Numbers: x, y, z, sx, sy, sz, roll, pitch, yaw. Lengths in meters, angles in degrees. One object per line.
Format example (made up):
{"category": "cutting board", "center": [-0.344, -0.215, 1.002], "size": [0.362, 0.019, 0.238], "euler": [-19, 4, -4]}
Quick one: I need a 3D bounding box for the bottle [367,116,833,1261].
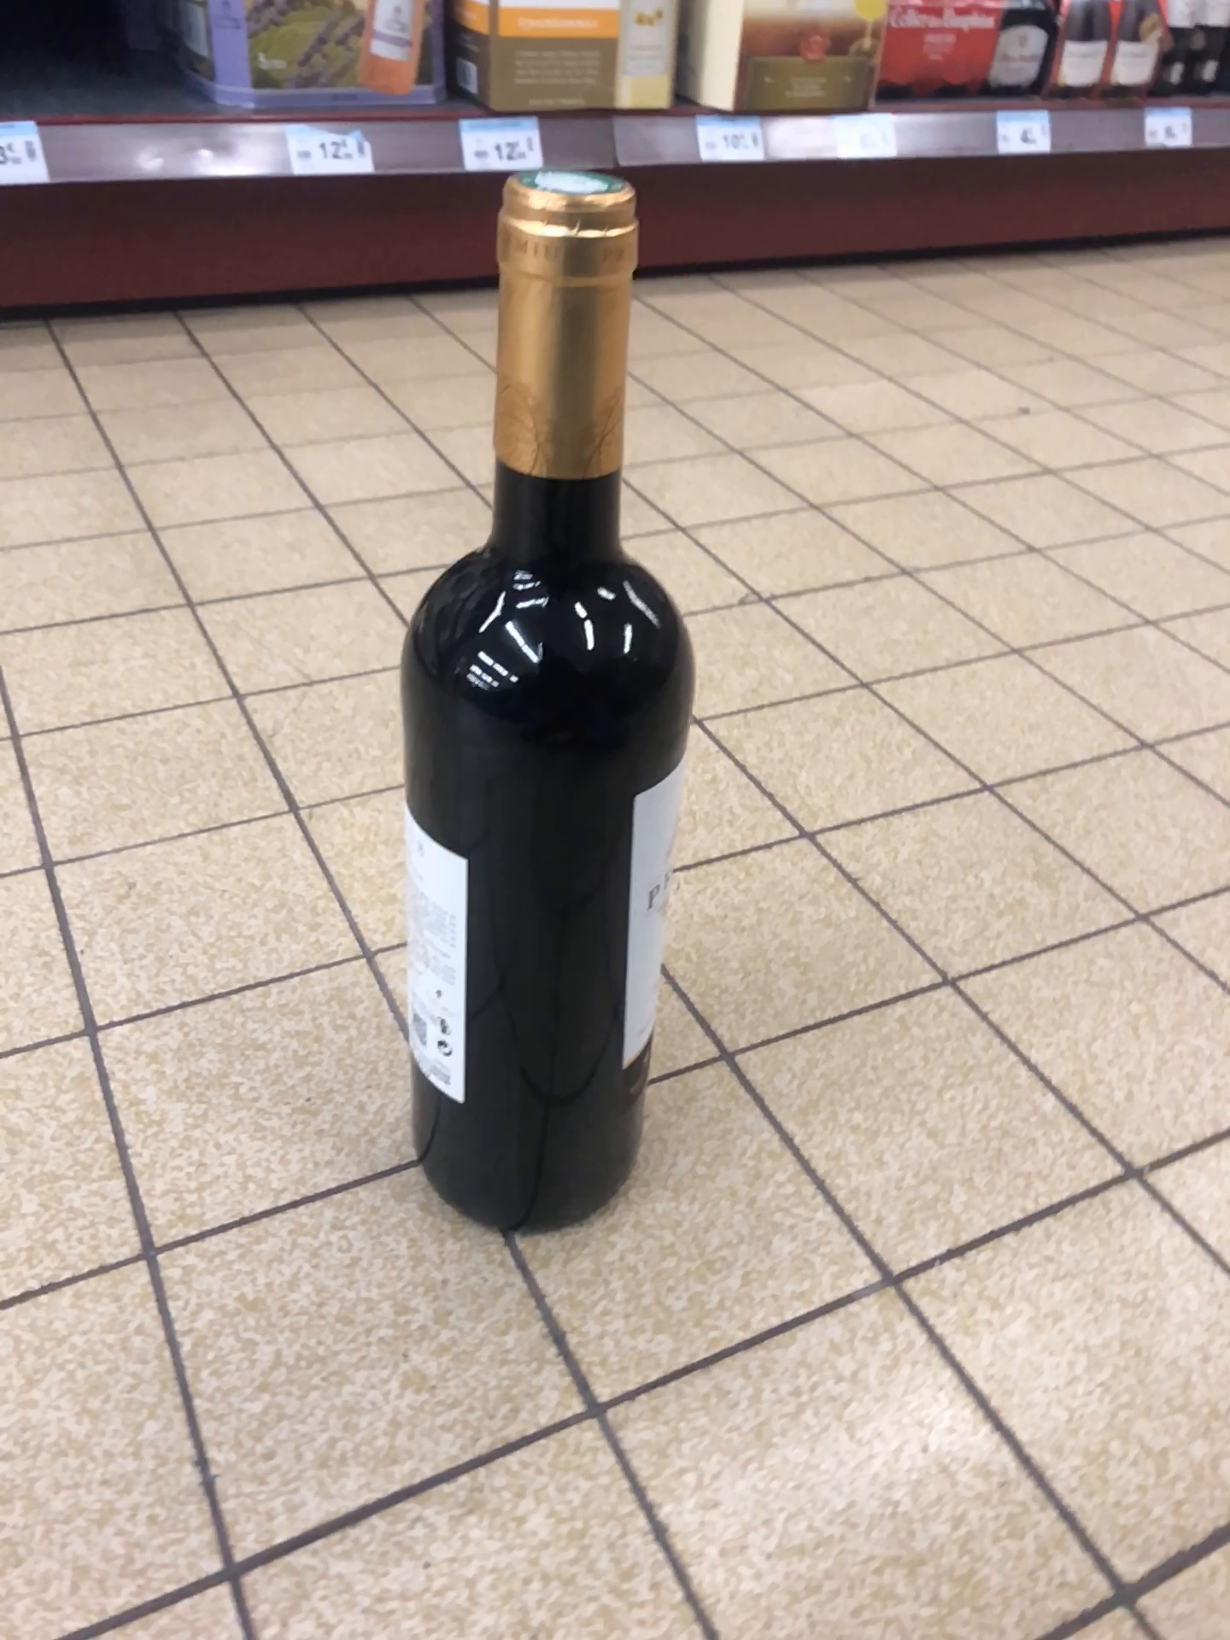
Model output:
{"category": "bottle", "center": [-0.018, -0.016, 0.359], "size": [0.080, 0.288, 0.090], "euler": [-3, 36, -11]}
